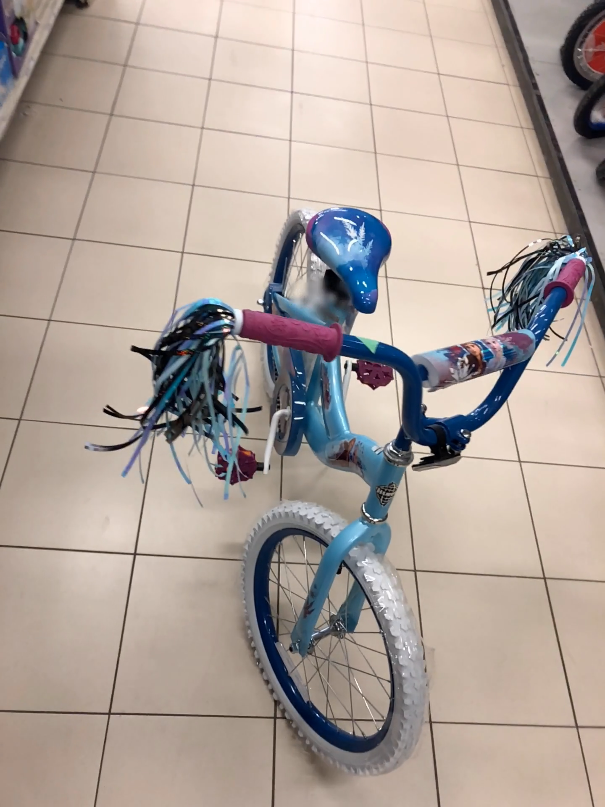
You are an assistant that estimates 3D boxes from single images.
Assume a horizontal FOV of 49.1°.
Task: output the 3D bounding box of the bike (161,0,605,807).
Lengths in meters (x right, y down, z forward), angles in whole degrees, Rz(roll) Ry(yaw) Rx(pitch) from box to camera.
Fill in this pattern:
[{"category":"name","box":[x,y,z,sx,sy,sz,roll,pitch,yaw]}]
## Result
[{"category":"bike","box":[0.112,-0.047,1.144,0.641,0.954,1.178,-2,53,-13]}]
